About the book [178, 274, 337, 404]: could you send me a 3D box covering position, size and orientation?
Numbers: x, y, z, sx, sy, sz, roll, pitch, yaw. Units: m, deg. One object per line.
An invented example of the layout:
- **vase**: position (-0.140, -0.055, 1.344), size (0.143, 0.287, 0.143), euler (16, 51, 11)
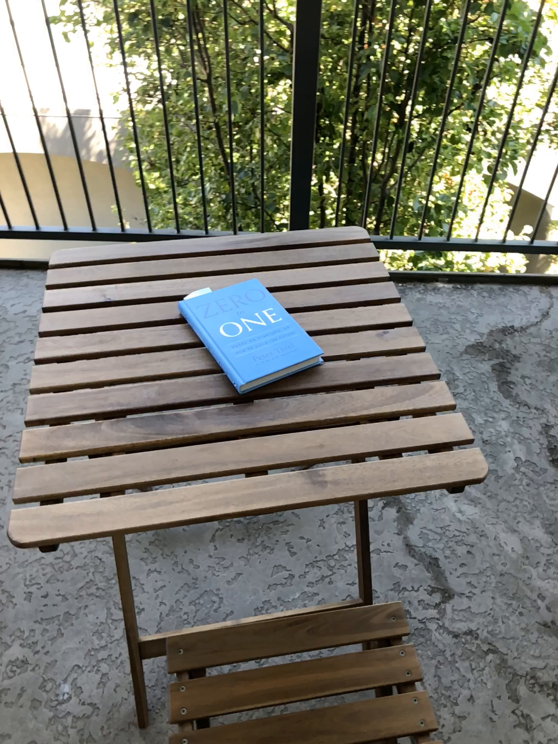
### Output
- **book**: position (-0.038, -0.061, 0.964), size (0.160, 0.030, 0.221), euler (-22, 49, -22)
